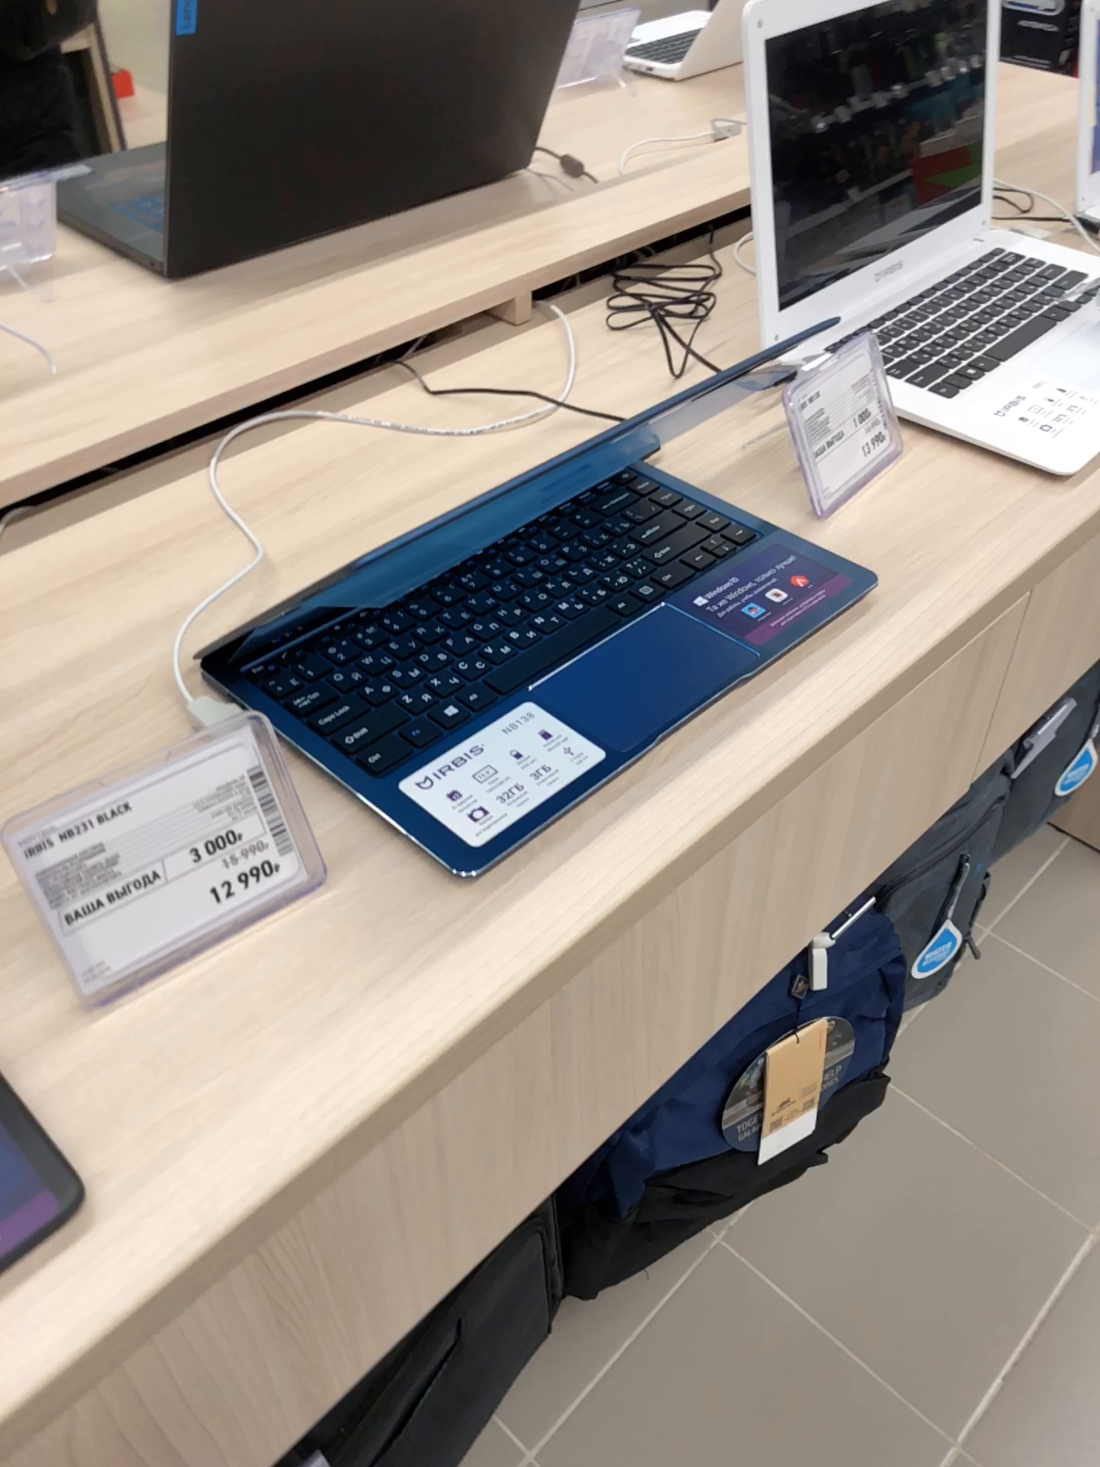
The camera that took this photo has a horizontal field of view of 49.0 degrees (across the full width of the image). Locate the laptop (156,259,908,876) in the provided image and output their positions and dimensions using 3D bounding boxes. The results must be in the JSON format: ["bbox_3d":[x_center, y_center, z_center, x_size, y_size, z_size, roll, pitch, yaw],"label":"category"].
[{"bbox_3d":[0.002,-0.106,0.608,0.309,0.124,0.189,-33,54,-32],"label":"laptop"}]

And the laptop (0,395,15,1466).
[{"bbox_3d":[-0.384,0.082,0.347,0.294,0.165,0.323,-32,51,-32],"label":"laptop"}]

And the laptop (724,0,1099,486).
[{"bbox_3d":[0.341,-0.404,0.866,0.340,0.212,0.303,-34,52,-31],"label":"laptop"}]
